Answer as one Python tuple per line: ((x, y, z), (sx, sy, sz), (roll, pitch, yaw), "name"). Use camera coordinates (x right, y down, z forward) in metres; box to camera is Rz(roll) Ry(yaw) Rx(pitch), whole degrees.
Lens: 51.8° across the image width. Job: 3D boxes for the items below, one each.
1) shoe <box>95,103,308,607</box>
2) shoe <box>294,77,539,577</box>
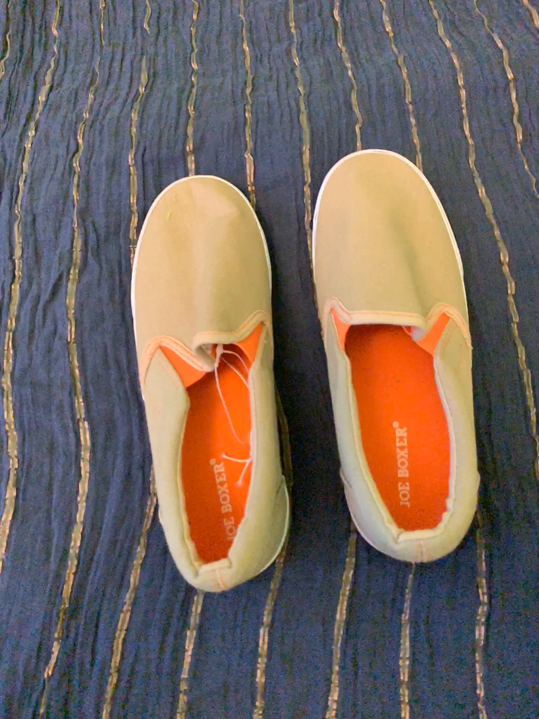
((-0.040, -0.008, 0.323), (0.095, 0.080, 0.263), (-5, 73, 1), "shoe")
((0.076, -0.023, 0.329), (0.100, 0.080, 0.271), (-5, 73, 1), "shoe")
